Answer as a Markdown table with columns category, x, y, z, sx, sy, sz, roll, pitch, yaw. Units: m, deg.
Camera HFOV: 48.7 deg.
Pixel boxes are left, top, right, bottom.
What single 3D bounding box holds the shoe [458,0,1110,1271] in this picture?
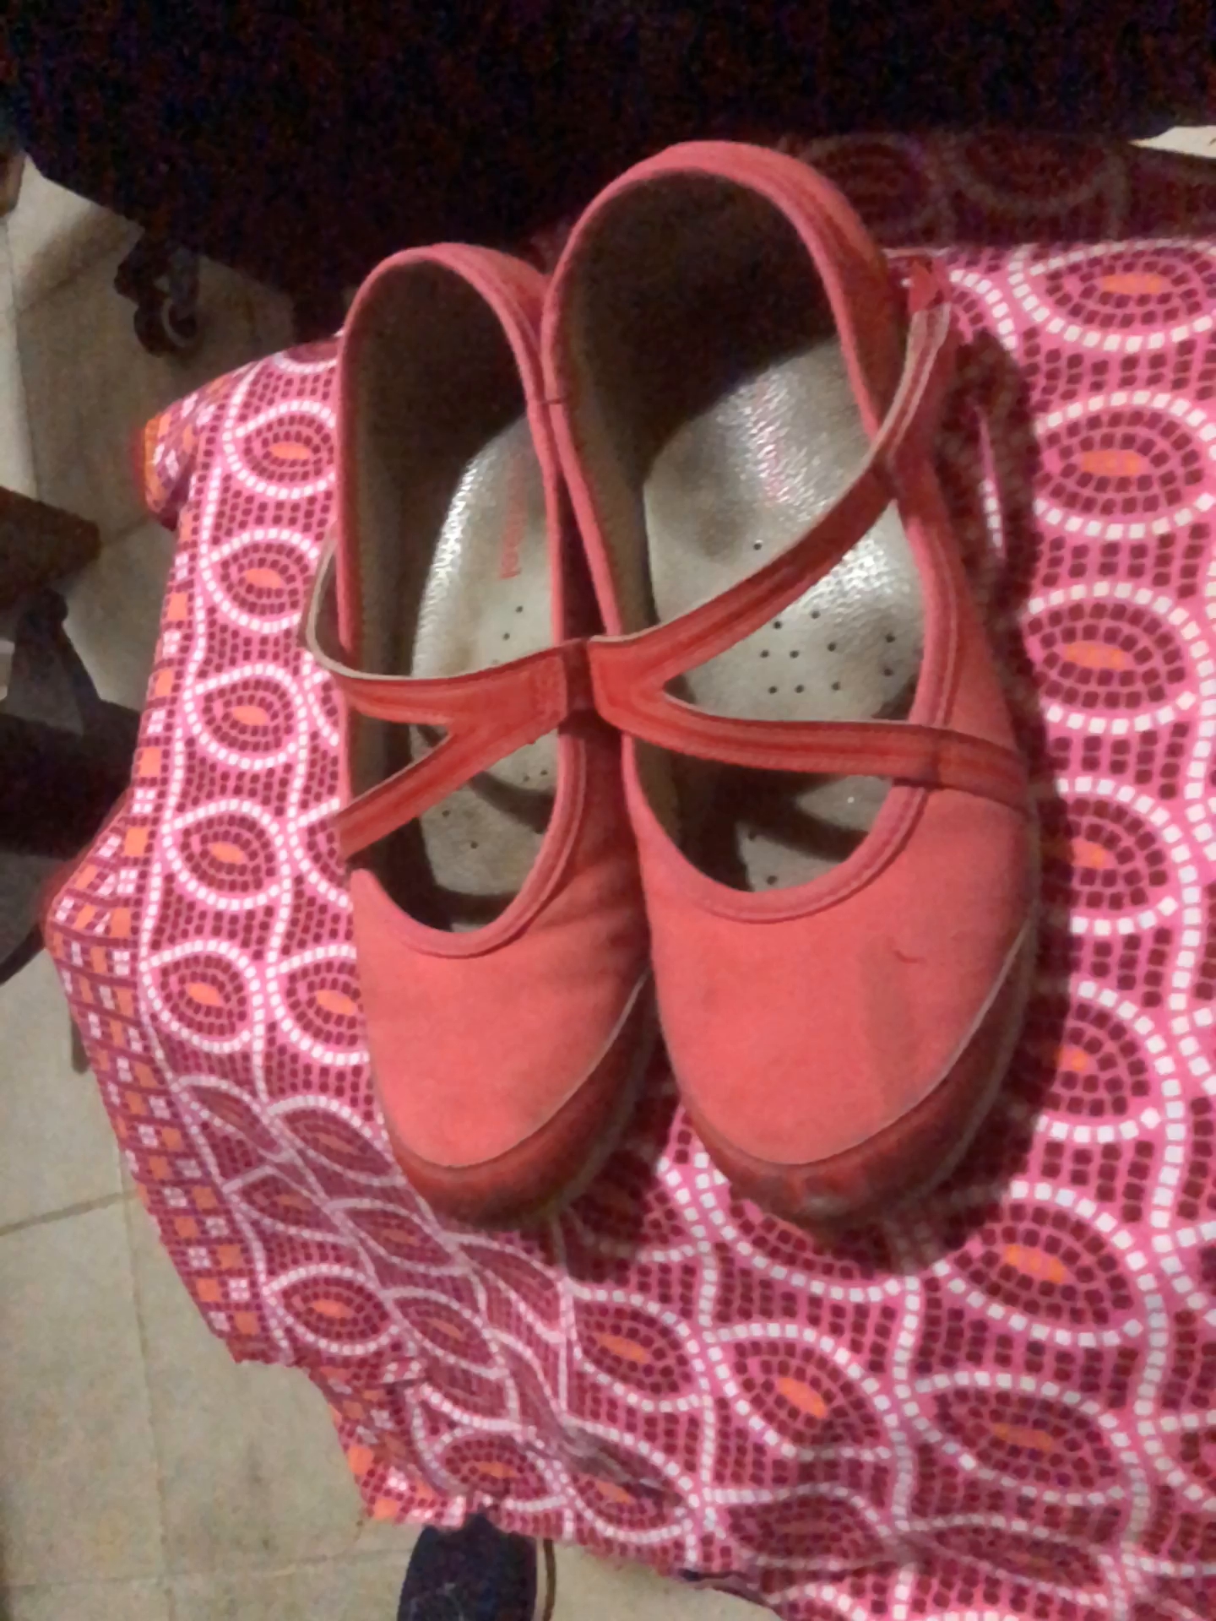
| category | x | y | z | sx | sy | sz | roll | pitch | yaw |
| --- | --- | --- | --- | --- | --- | --- | --- | --- | --- |
| shoe | 0.043 | -0.043 | 0.354 | 0.110 | 0.100 | 0.300 | -11 | 77 | 28 |

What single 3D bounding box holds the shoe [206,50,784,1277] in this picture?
| category | x | y | z | sx | sy | sz | roll | pitch | yaw |
| --- | --- | --- | --- | --- | --- | --- | --- | --- | --- |
| shoe | -0.034 | -0.031 | 0.374 | 0.110 | 0.100 | 0.290 | -10 | 78 | 29 |
